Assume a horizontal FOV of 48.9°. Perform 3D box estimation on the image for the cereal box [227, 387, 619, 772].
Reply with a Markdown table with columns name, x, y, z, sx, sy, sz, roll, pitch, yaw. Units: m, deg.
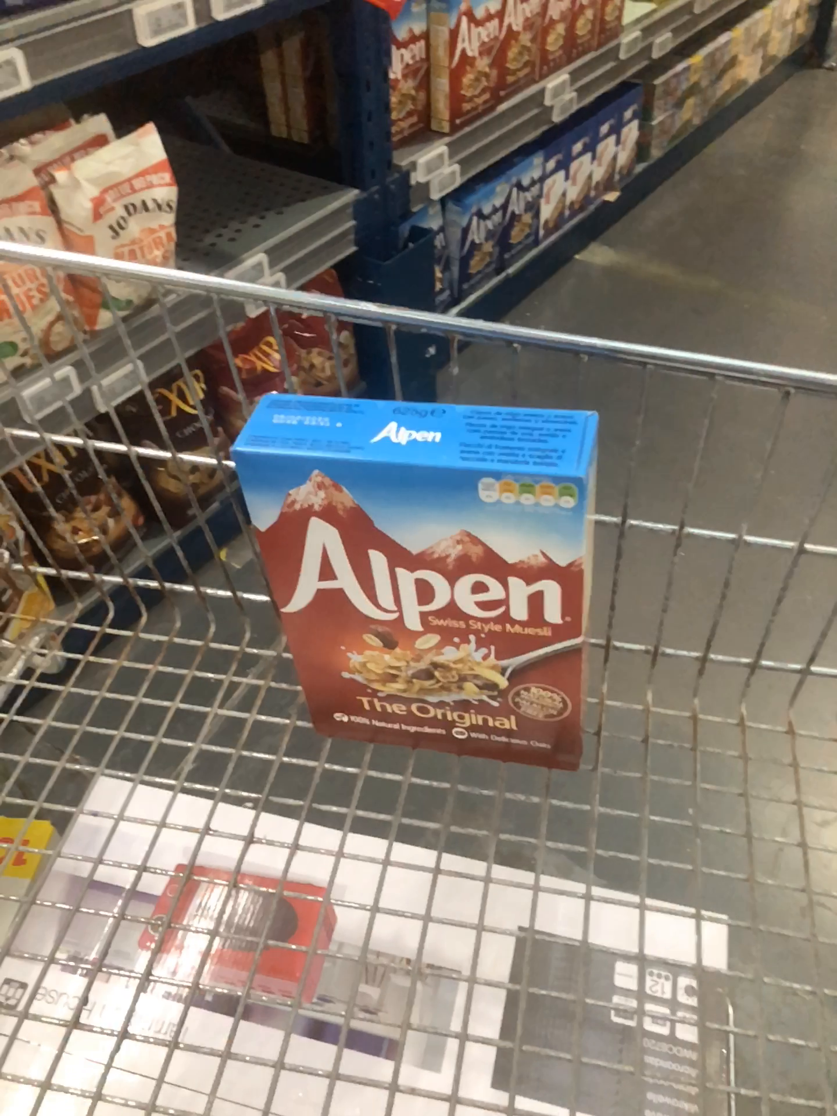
| name | x | y | z | sx | sy | sz | roll | pitch | yaw |
| --- | --- | --- | --- | --- | --- | --- | --- | --- | --- |
| cereal box | 0.011 | 0.020 | 0.518 | 0.180 | 0.219 | 0.060 | 6 | 45 | 12 |
